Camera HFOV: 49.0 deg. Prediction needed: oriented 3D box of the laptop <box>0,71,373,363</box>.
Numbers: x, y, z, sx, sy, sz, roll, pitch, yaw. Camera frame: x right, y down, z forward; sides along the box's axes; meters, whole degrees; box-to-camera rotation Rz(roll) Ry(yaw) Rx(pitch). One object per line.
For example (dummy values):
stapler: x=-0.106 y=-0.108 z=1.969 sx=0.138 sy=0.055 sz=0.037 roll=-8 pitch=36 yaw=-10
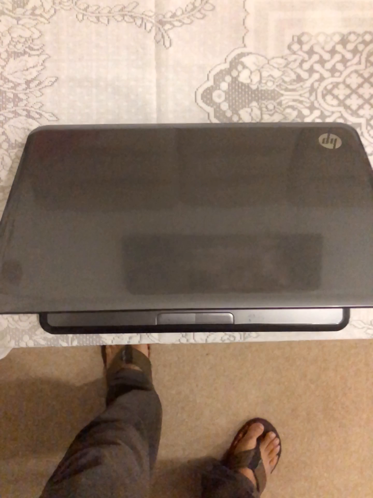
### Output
laptop: x=0.007 y=-0.025 z=0.407 sx=0.360 sy=0.139 sz=0.237 roll=-1 pitch=91 yaw=0
